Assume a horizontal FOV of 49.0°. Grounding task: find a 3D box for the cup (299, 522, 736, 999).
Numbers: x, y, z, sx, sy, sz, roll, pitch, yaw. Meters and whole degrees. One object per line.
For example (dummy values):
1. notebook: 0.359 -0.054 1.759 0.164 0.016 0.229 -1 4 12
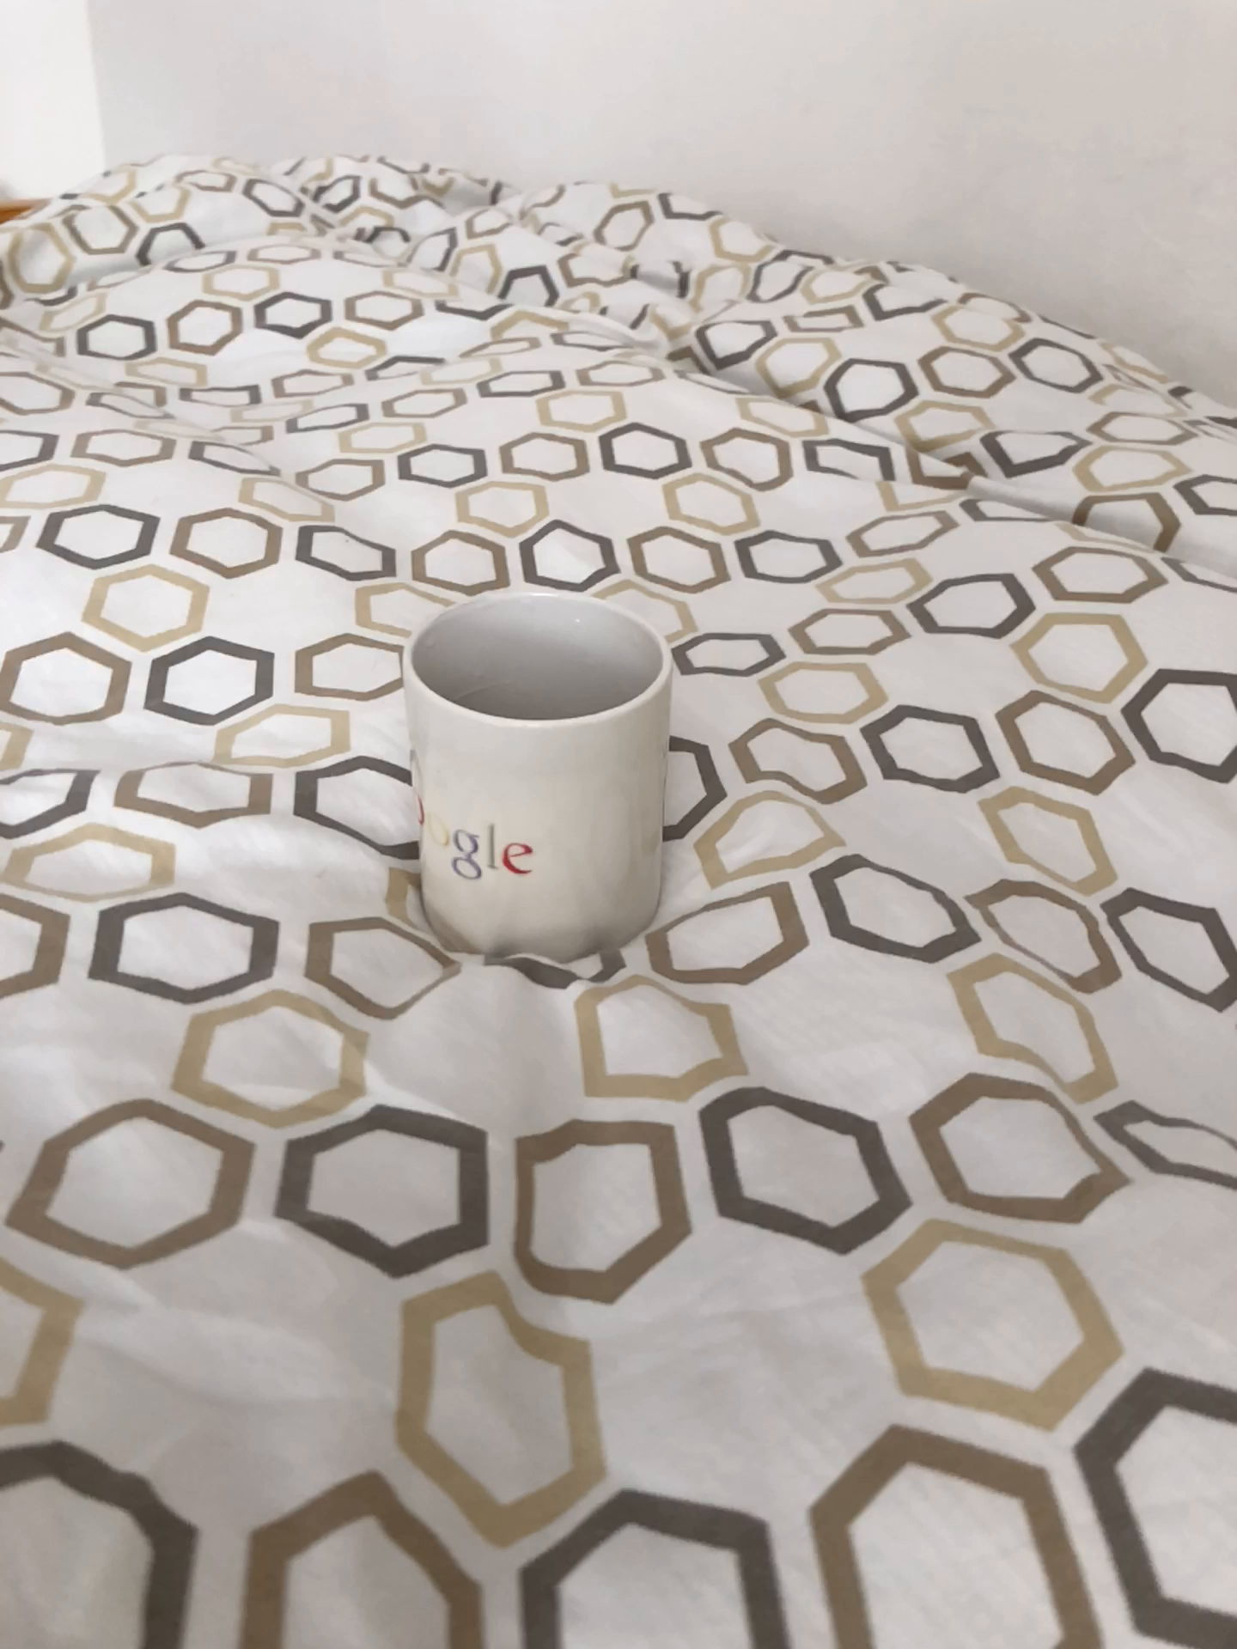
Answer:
1. cup: -0.036 -0.027 0.442 0.087 0.087 0.126 -18 39 -25
